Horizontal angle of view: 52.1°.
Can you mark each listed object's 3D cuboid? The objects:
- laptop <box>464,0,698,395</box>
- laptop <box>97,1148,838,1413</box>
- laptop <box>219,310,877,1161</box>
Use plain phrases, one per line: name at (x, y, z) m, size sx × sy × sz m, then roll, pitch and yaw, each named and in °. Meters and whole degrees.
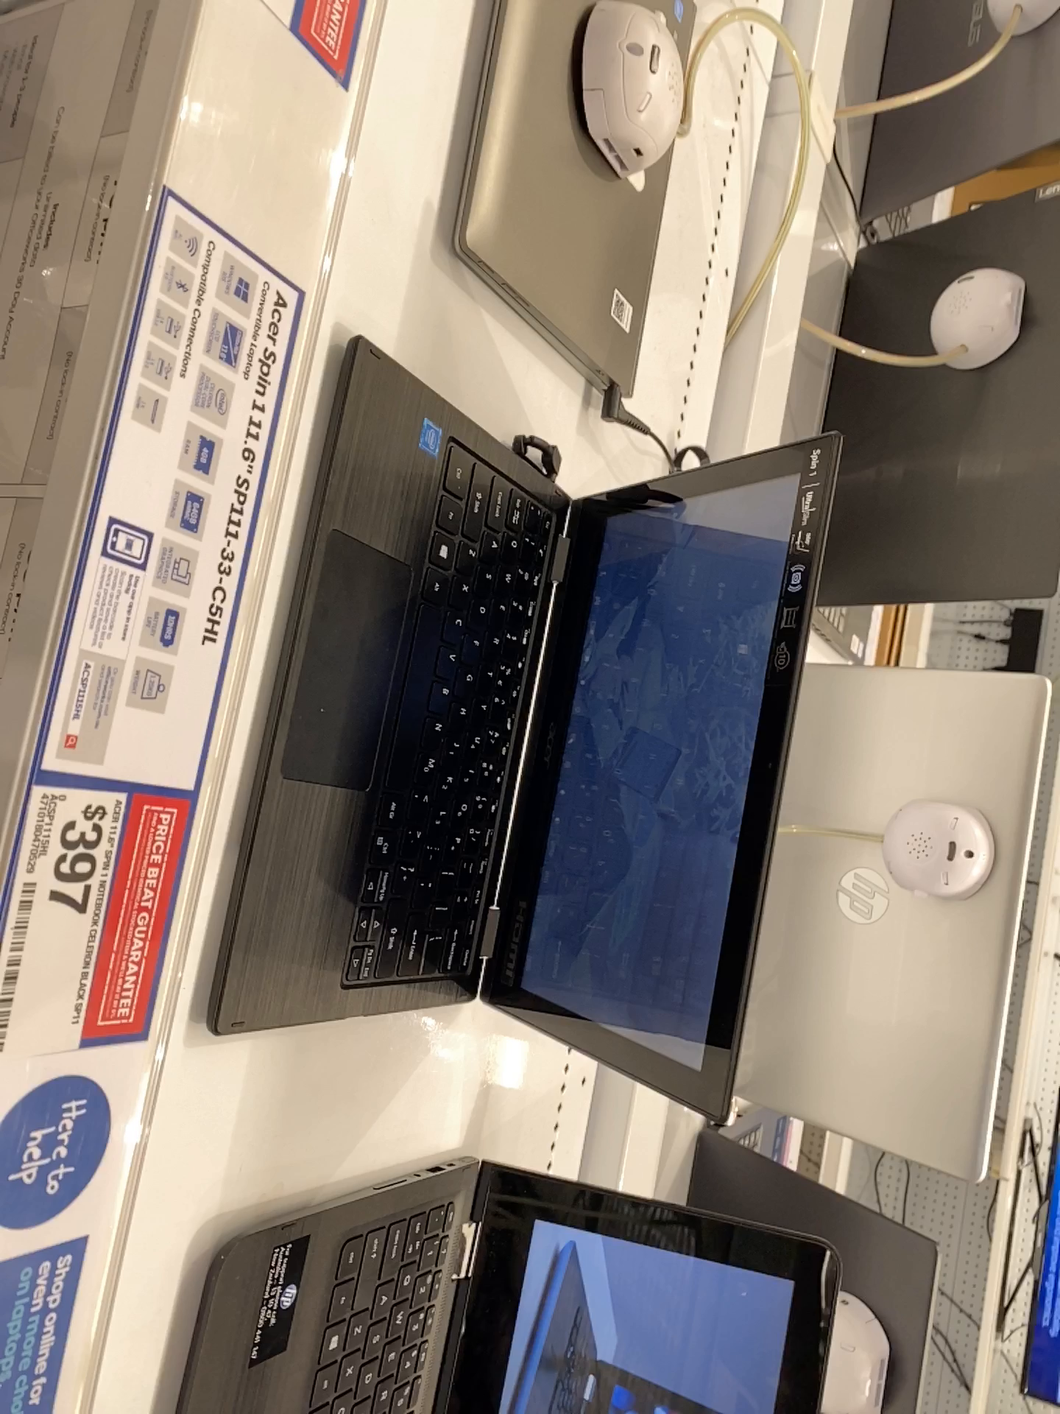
laptop at (0.040, -0.346, 0.617) m, size 0.196 × 0.001 × 0.284 m, roll 19°, pitch 78°, yaw -59°
laptop at (-0.001, 0.429, 0.533) m, size 0.298 × 0.190 × 0.323 m, roll 19°, pitch 80°, yaw -59°
laptop at (0.025, 0.012, 0.491) m, size 0.198 × 0.174 × 0.290 m, roll 20°, pitch 79°, yaw -59°
